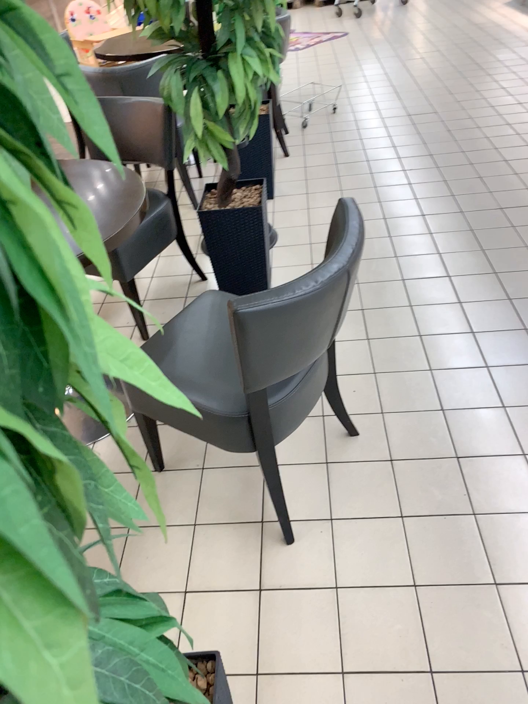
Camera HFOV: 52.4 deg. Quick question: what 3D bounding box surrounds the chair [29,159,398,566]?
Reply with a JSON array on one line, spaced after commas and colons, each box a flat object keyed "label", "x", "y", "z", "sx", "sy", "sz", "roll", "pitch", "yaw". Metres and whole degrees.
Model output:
[{"label": "chair", "x": -0.063, "y": 0.003, "z": 1.462, "sx": 0.641, "sy": 0.796, "sz": 0.552, "roll": 18, "pitch": 46, "yaw": 28}]
